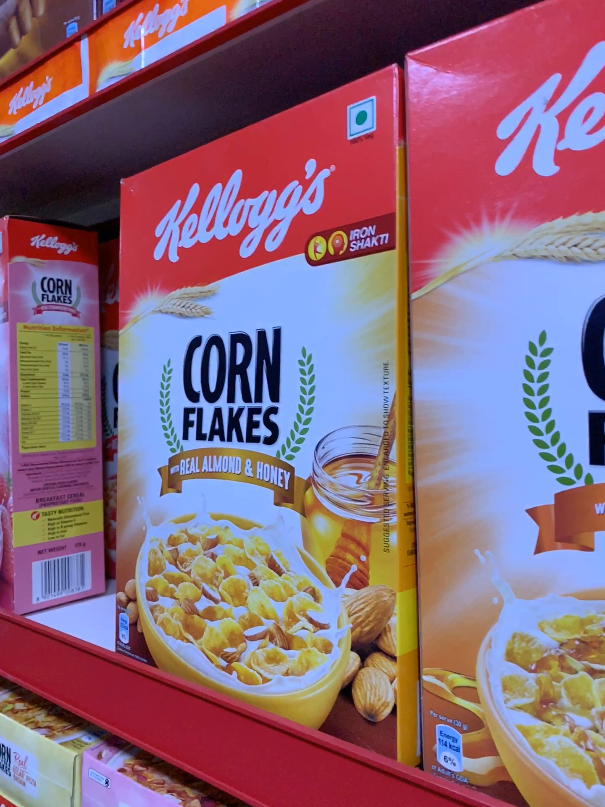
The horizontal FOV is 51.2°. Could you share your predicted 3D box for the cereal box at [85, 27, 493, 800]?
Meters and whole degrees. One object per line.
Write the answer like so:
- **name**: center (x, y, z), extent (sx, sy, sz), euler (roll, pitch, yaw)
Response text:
- **cereal box**: center (-0.018, 0.003, 0.267), extent (0.170, 0.230, 0.060), euler (-3, -1, 42)
